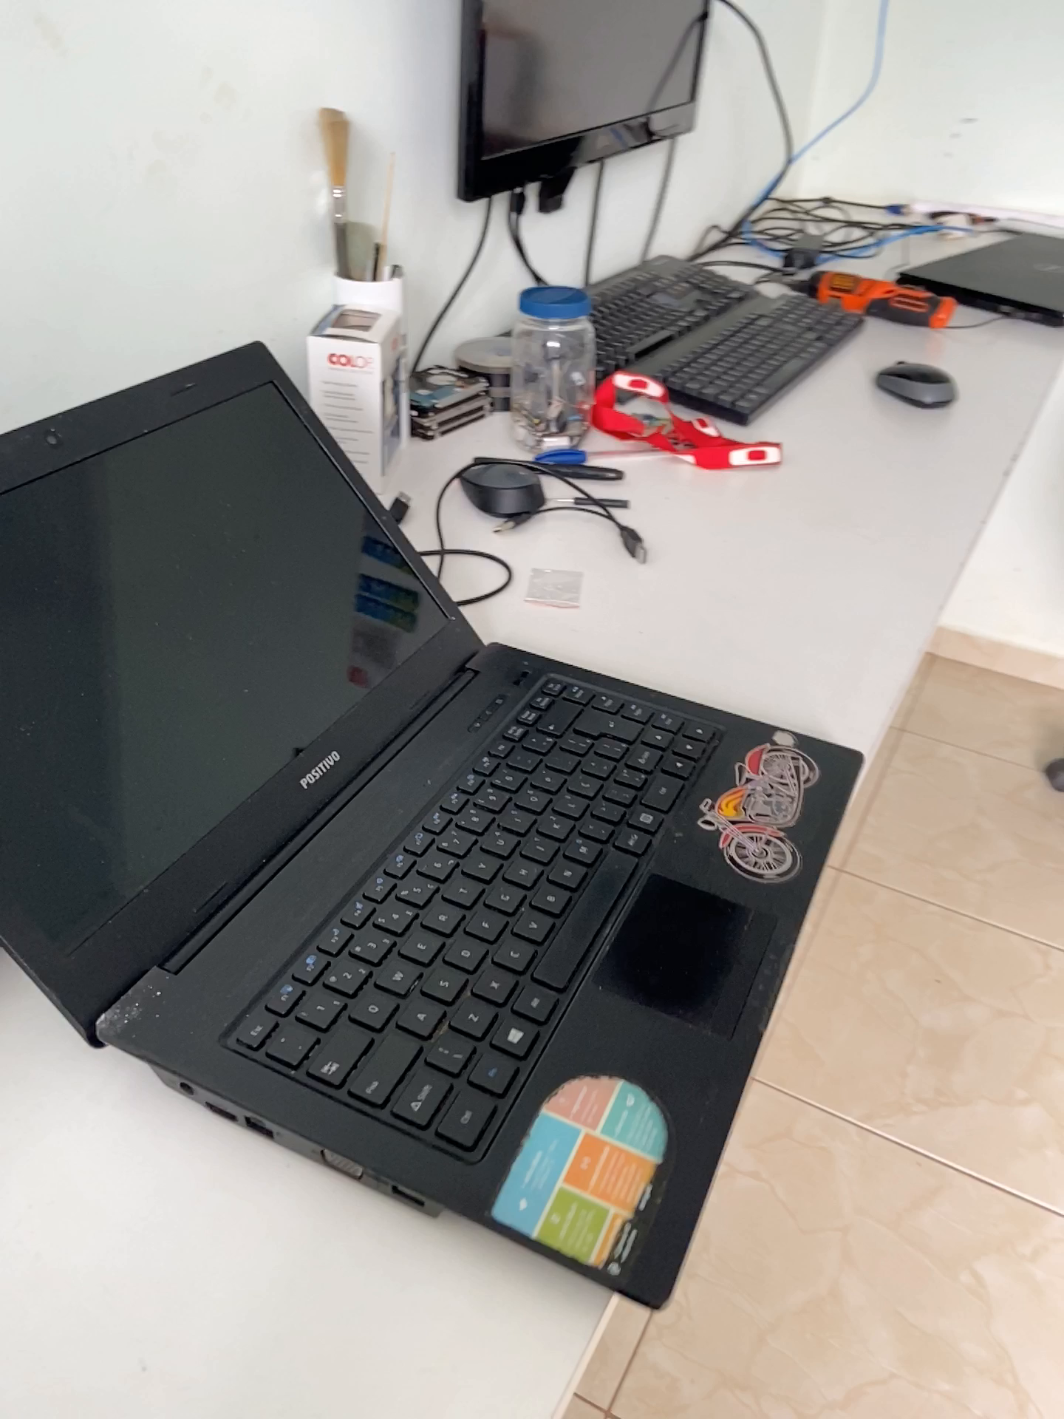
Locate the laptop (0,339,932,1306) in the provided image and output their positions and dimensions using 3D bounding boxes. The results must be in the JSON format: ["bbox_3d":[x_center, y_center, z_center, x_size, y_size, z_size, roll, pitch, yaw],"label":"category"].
[{"bbox_3d":[-0.063,-0.014,0.494,0.393,0.162,0.336,17,36,19],"label":"laptop"}]
